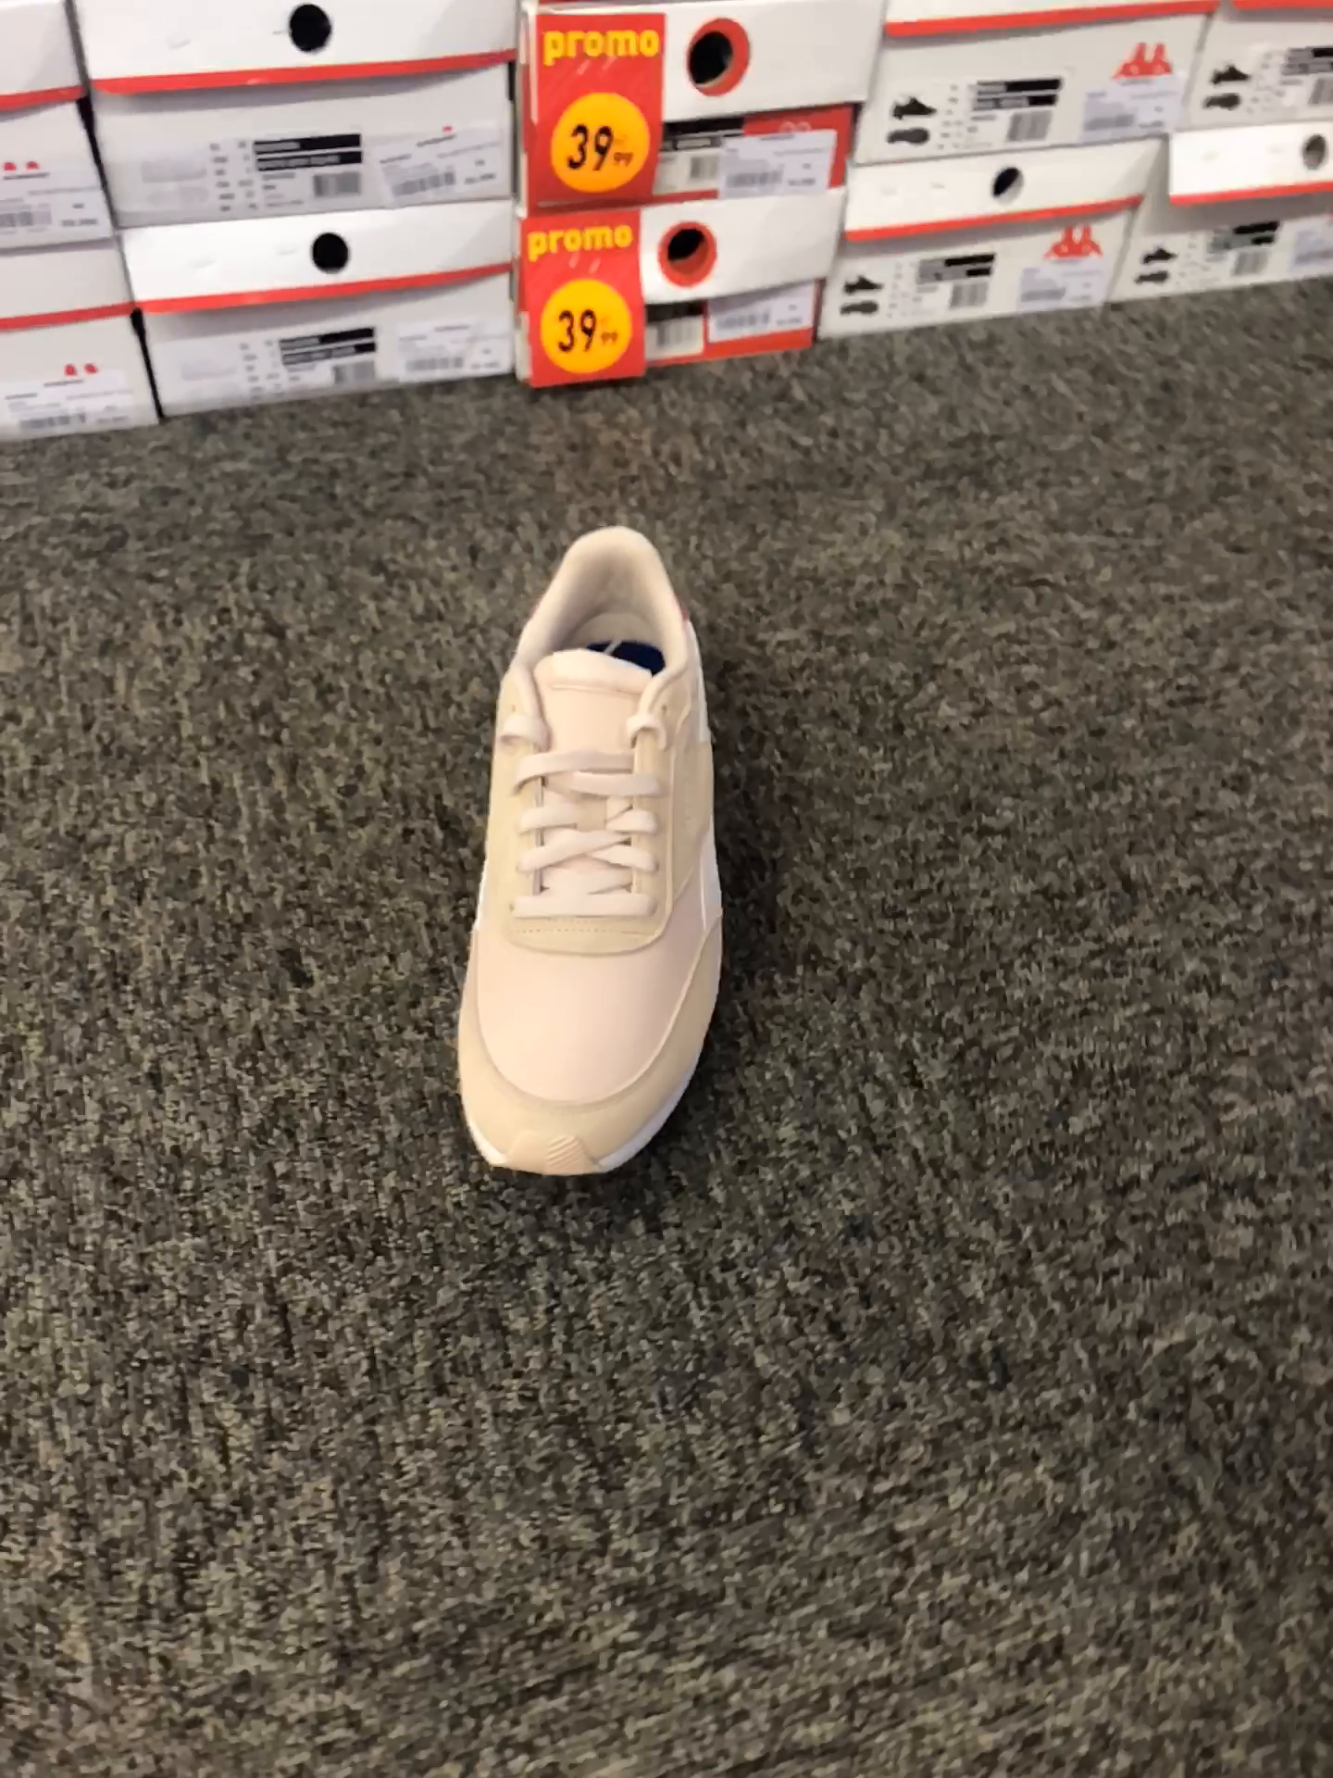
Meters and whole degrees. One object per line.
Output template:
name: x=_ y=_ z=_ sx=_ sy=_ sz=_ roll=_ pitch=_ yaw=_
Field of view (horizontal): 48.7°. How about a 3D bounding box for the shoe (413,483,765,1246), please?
shoe: x=-0.020 y=-0.020 z=0.551 sx=0.100 sy=0.109 sz=0.271 roll=4 pitch=51 yaw=-1
